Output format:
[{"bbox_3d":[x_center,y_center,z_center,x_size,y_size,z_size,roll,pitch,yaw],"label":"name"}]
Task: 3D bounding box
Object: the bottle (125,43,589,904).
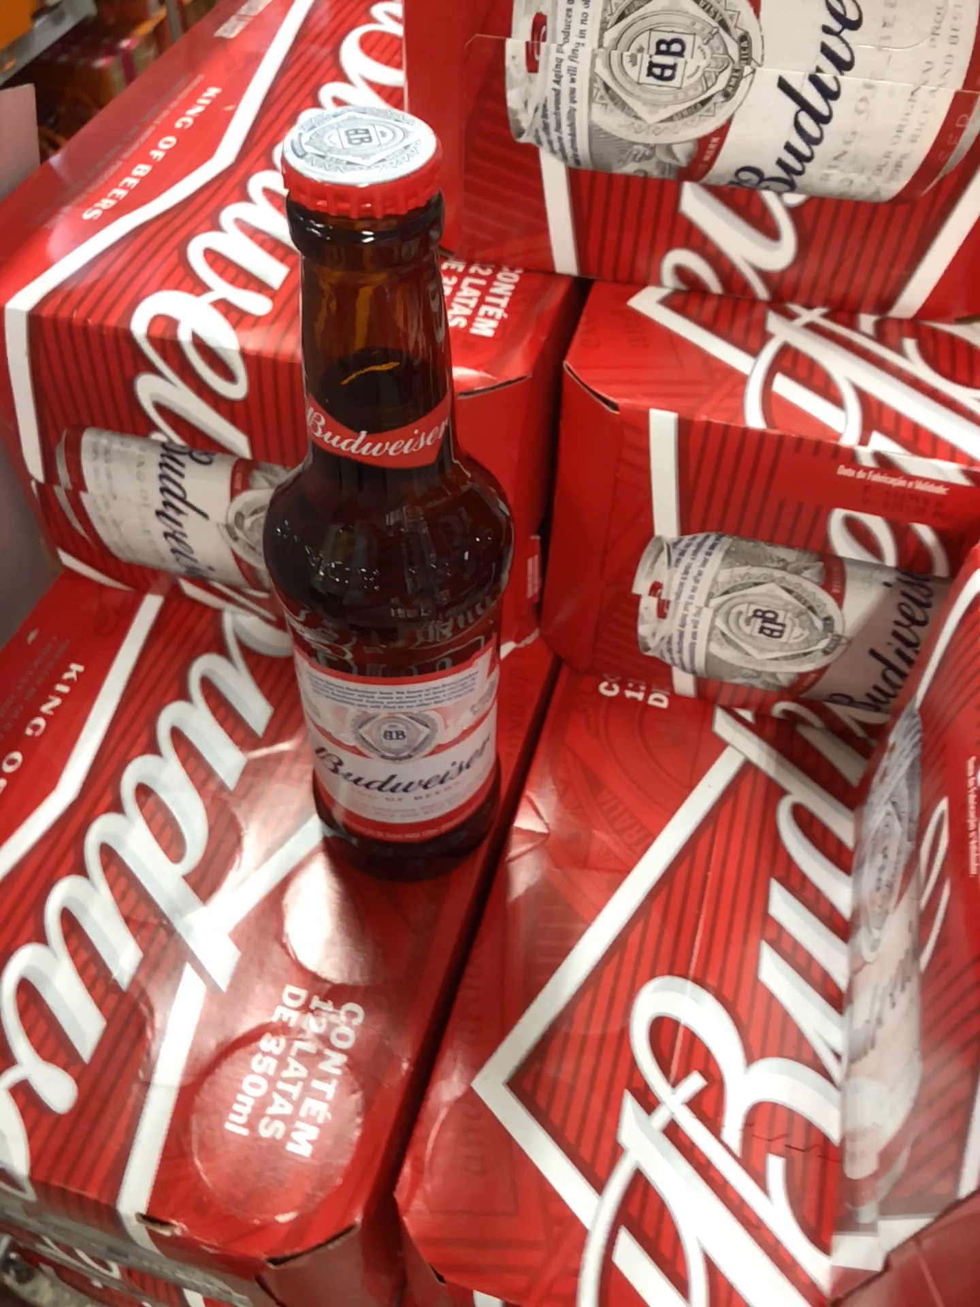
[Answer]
[{"bbox_3d":[-0.021,-0.018,0.276,0.070,0.229,0.060,5,52,2],"label":"bottle"}]
